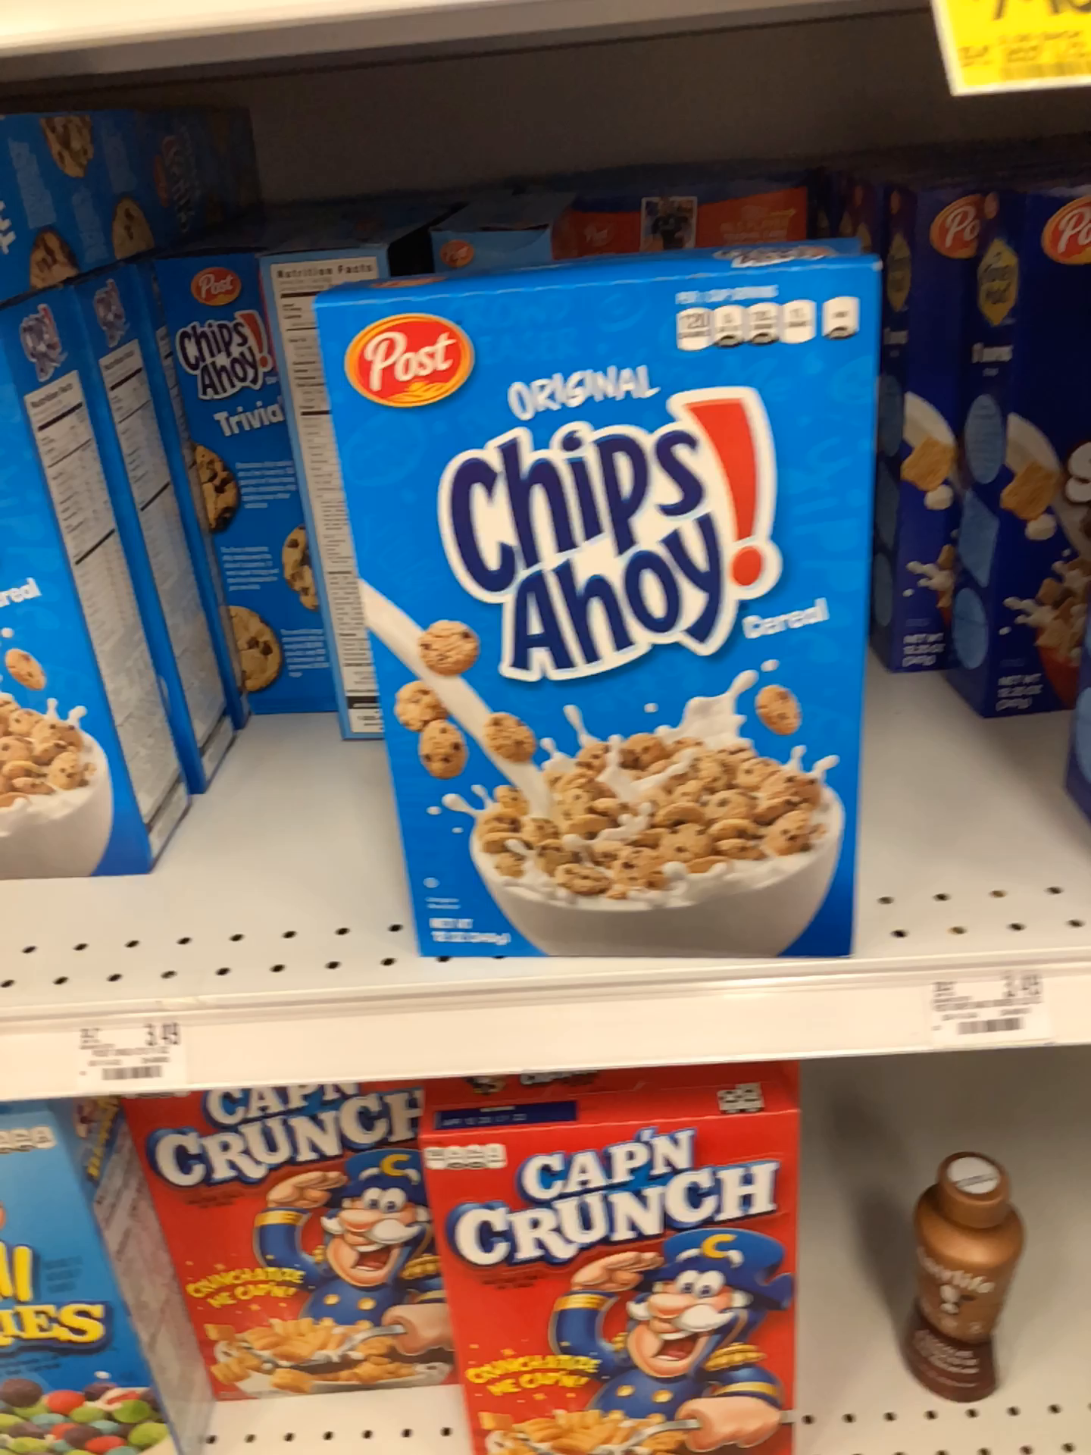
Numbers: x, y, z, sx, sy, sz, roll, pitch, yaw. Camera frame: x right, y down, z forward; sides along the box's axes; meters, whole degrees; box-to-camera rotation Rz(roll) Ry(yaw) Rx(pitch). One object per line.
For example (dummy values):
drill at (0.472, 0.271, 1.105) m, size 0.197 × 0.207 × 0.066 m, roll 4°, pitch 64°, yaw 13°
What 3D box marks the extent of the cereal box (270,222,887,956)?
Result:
cereal box at (0.021, -0.043, 0.461) m, size 0.190 × 0.259 × 0.080 m, roll -1°, pitch 26°, yaw 8°
